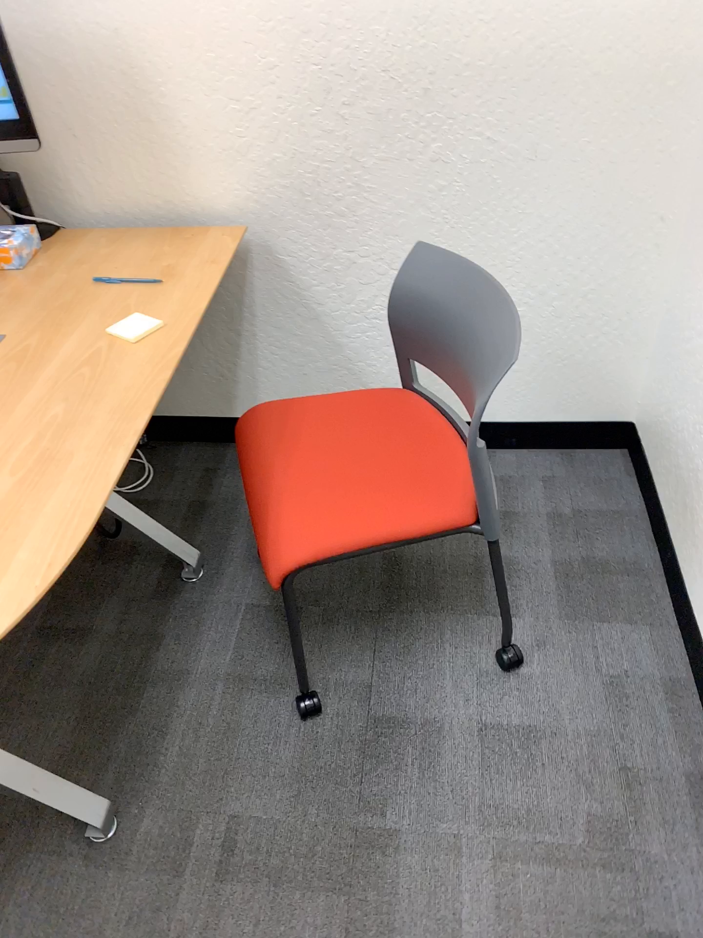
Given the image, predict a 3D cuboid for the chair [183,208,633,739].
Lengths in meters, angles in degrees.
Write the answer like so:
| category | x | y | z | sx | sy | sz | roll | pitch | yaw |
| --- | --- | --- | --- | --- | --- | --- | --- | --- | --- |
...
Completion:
| category | x | y | z | sx | sy | sz | roll | pitch | yaw |
| --- | --- | --- | --- | --- | --- | --- | --- | --- | --- |
| chair | 0.077 | 0.004 | 1.762 | 0.720 | 0.915 | 0.744 | -13 | 42 | -8 |
